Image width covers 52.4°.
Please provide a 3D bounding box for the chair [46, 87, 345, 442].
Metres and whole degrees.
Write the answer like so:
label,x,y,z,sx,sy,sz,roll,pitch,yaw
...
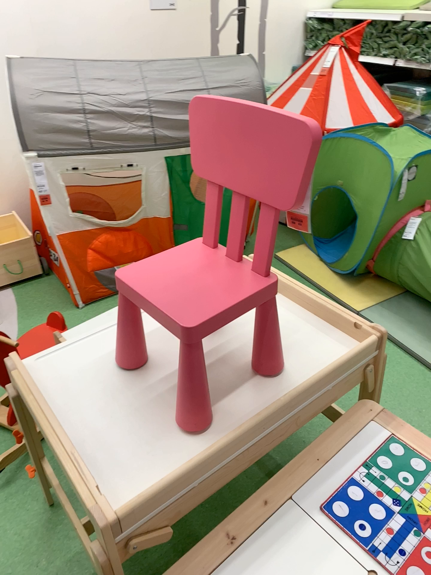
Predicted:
label,x,y,z,sx,sy,sz,roll,pitch,yaw
chair,-0.046,-0.084,1.003,0.400,0.597,0.421,-25,40,-32
